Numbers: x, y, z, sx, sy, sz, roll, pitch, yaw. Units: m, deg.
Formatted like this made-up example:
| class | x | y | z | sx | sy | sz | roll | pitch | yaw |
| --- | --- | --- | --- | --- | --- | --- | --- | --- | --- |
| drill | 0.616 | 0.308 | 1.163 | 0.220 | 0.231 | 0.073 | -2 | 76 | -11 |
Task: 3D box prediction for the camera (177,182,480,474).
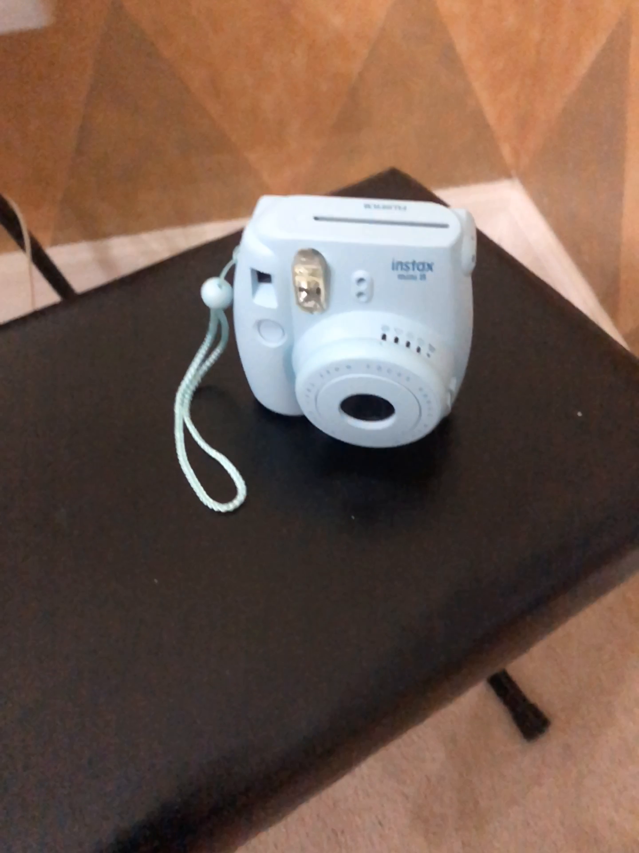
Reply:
| class | x | y | z | sx | sy | sz | roll | pitch | yaw |
| --- | --- | --- | --- | --- | --- | --- | --- | --- | --- |
| camera | 0.009 | -0.044 | 0.346 | 0.120 | 0.118 | 0.068 | 5 | 52 | 7 |
